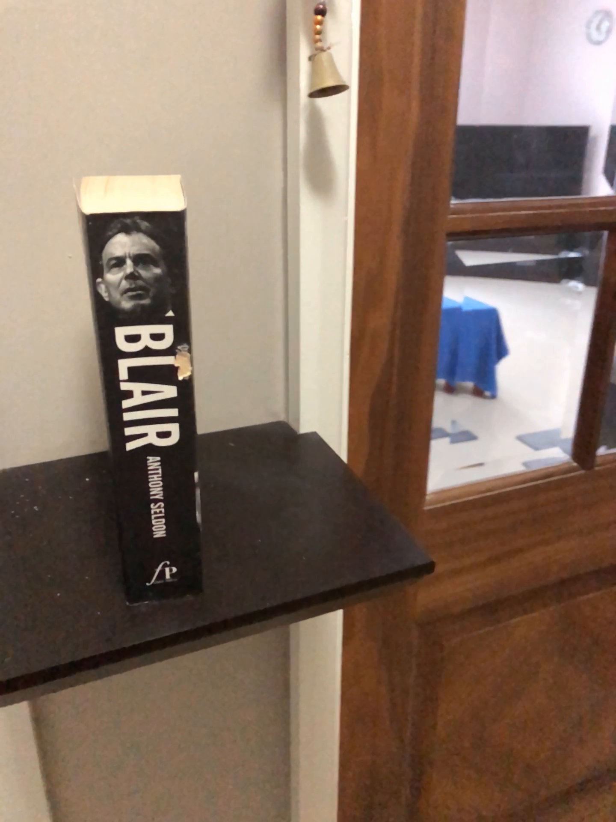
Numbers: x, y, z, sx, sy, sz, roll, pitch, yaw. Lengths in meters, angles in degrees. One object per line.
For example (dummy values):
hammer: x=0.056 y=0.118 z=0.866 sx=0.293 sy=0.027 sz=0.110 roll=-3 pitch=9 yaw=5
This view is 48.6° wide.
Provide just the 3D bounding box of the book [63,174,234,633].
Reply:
book: x=-0.091 y=-0.019 z=0.389 sx=0.060 sy=0.209 sz=0.171 roll=-6 pitch=23 yaw=-15
